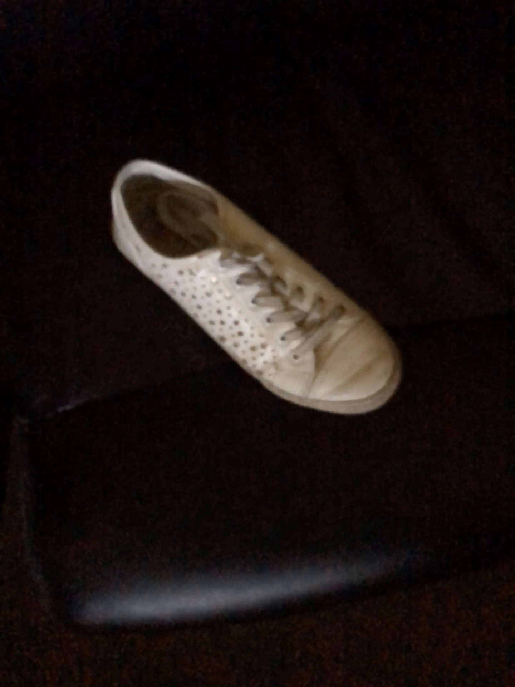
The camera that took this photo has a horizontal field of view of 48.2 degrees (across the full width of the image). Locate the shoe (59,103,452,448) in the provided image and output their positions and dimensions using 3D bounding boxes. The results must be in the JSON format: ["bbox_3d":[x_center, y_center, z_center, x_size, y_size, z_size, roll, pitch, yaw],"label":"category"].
[{"bbox_3d":[-0.004,-0.046,0.434,0.260,0.100,0.100,38,83,11],"label":"shoe"}]
